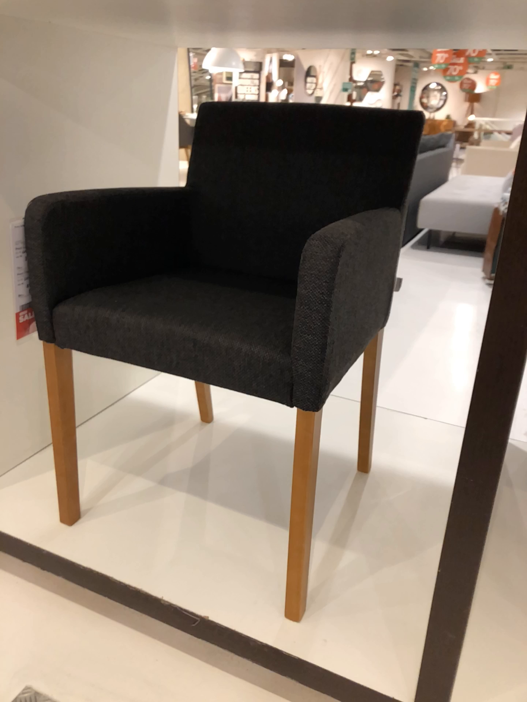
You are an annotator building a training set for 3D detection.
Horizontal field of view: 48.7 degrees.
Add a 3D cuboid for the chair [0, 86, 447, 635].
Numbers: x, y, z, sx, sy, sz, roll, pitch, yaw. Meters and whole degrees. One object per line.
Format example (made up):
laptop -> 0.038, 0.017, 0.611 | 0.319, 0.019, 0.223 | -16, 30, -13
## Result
chair -> -0.043, -0.058, 1.140 | 0.560, 0.795, 0.563 | 13, 24, 23
